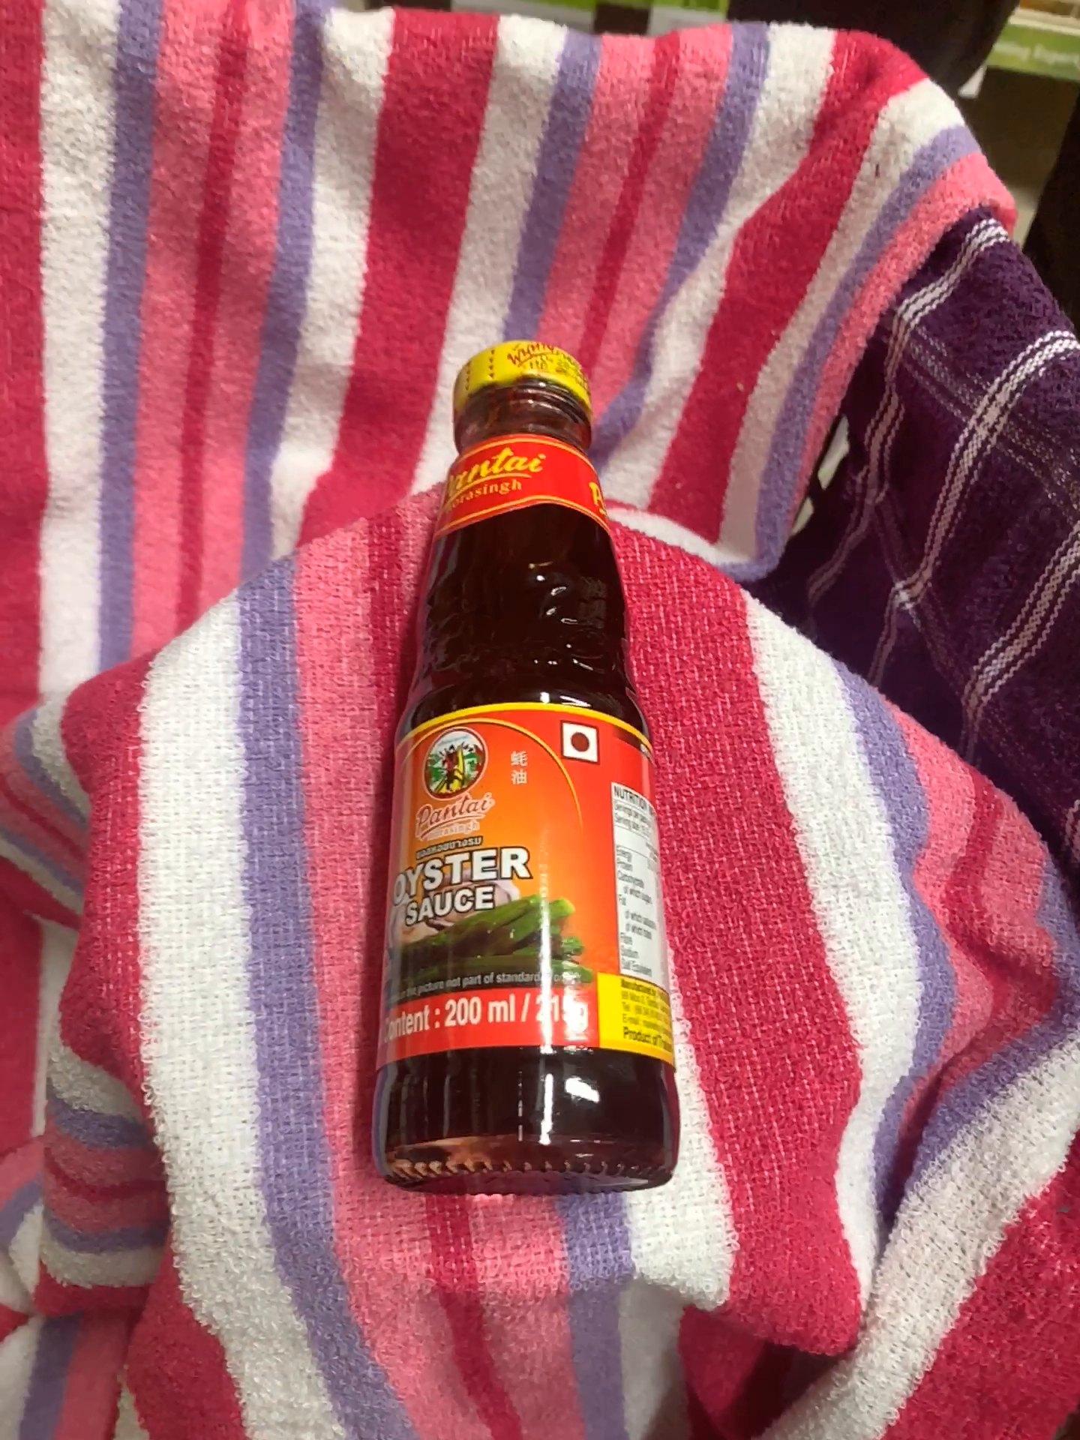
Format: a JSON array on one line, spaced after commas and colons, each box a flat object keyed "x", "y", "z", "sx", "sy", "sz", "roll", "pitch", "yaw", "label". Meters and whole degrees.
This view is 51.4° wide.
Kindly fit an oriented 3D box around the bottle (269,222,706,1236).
[{"x": -0.007, "y": -0.005, "z": 0.221, "sx": 0.050, "sy": 0.050, "sz": 0.190, "roll": -15, "pitch": 59, "yaw": 25, "label": "bottle"}]
